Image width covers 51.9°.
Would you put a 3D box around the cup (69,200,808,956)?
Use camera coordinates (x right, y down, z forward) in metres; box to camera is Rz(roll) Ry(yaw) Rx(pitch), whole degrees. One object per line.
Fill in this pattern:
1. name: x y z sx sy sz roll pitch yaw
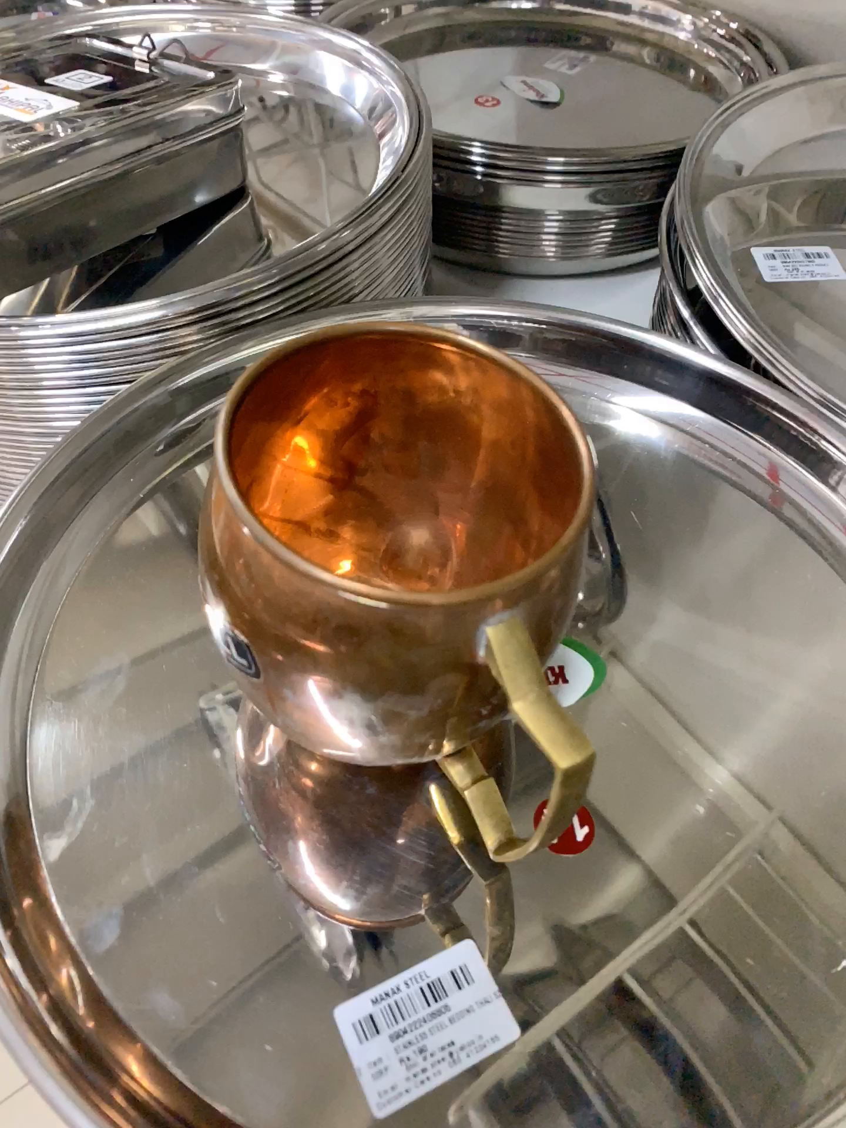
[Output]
1. cup: -0.005 0.000 0.199 0.090 0.090 0.120 -24 59 -18
